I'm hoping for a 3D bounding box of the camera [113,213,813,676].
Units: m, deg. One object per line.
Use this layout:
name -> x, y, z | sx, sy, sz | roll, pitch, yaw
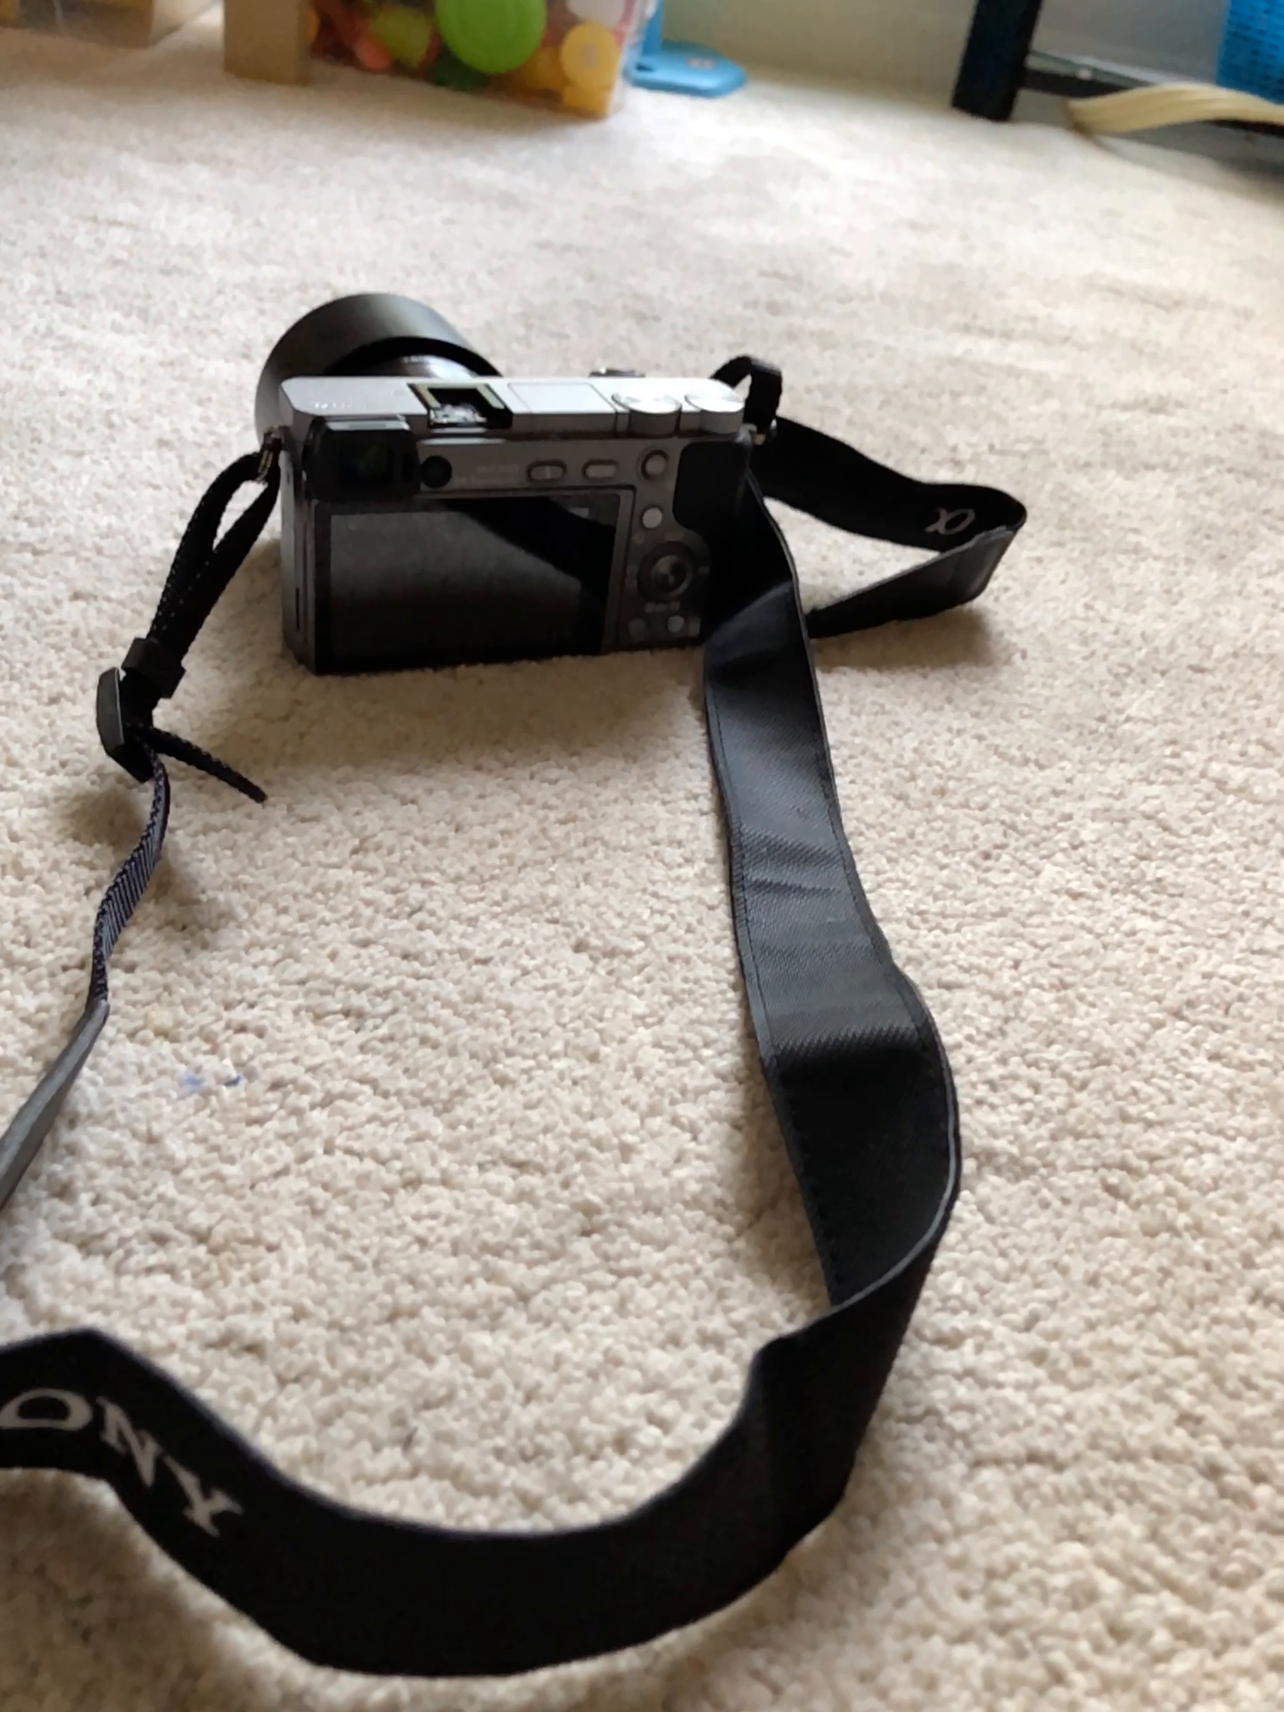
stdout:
camera -> -0.050, -0.110, 0.364 | 0.140, 0.070, 0.110 | -9, 39, -25
